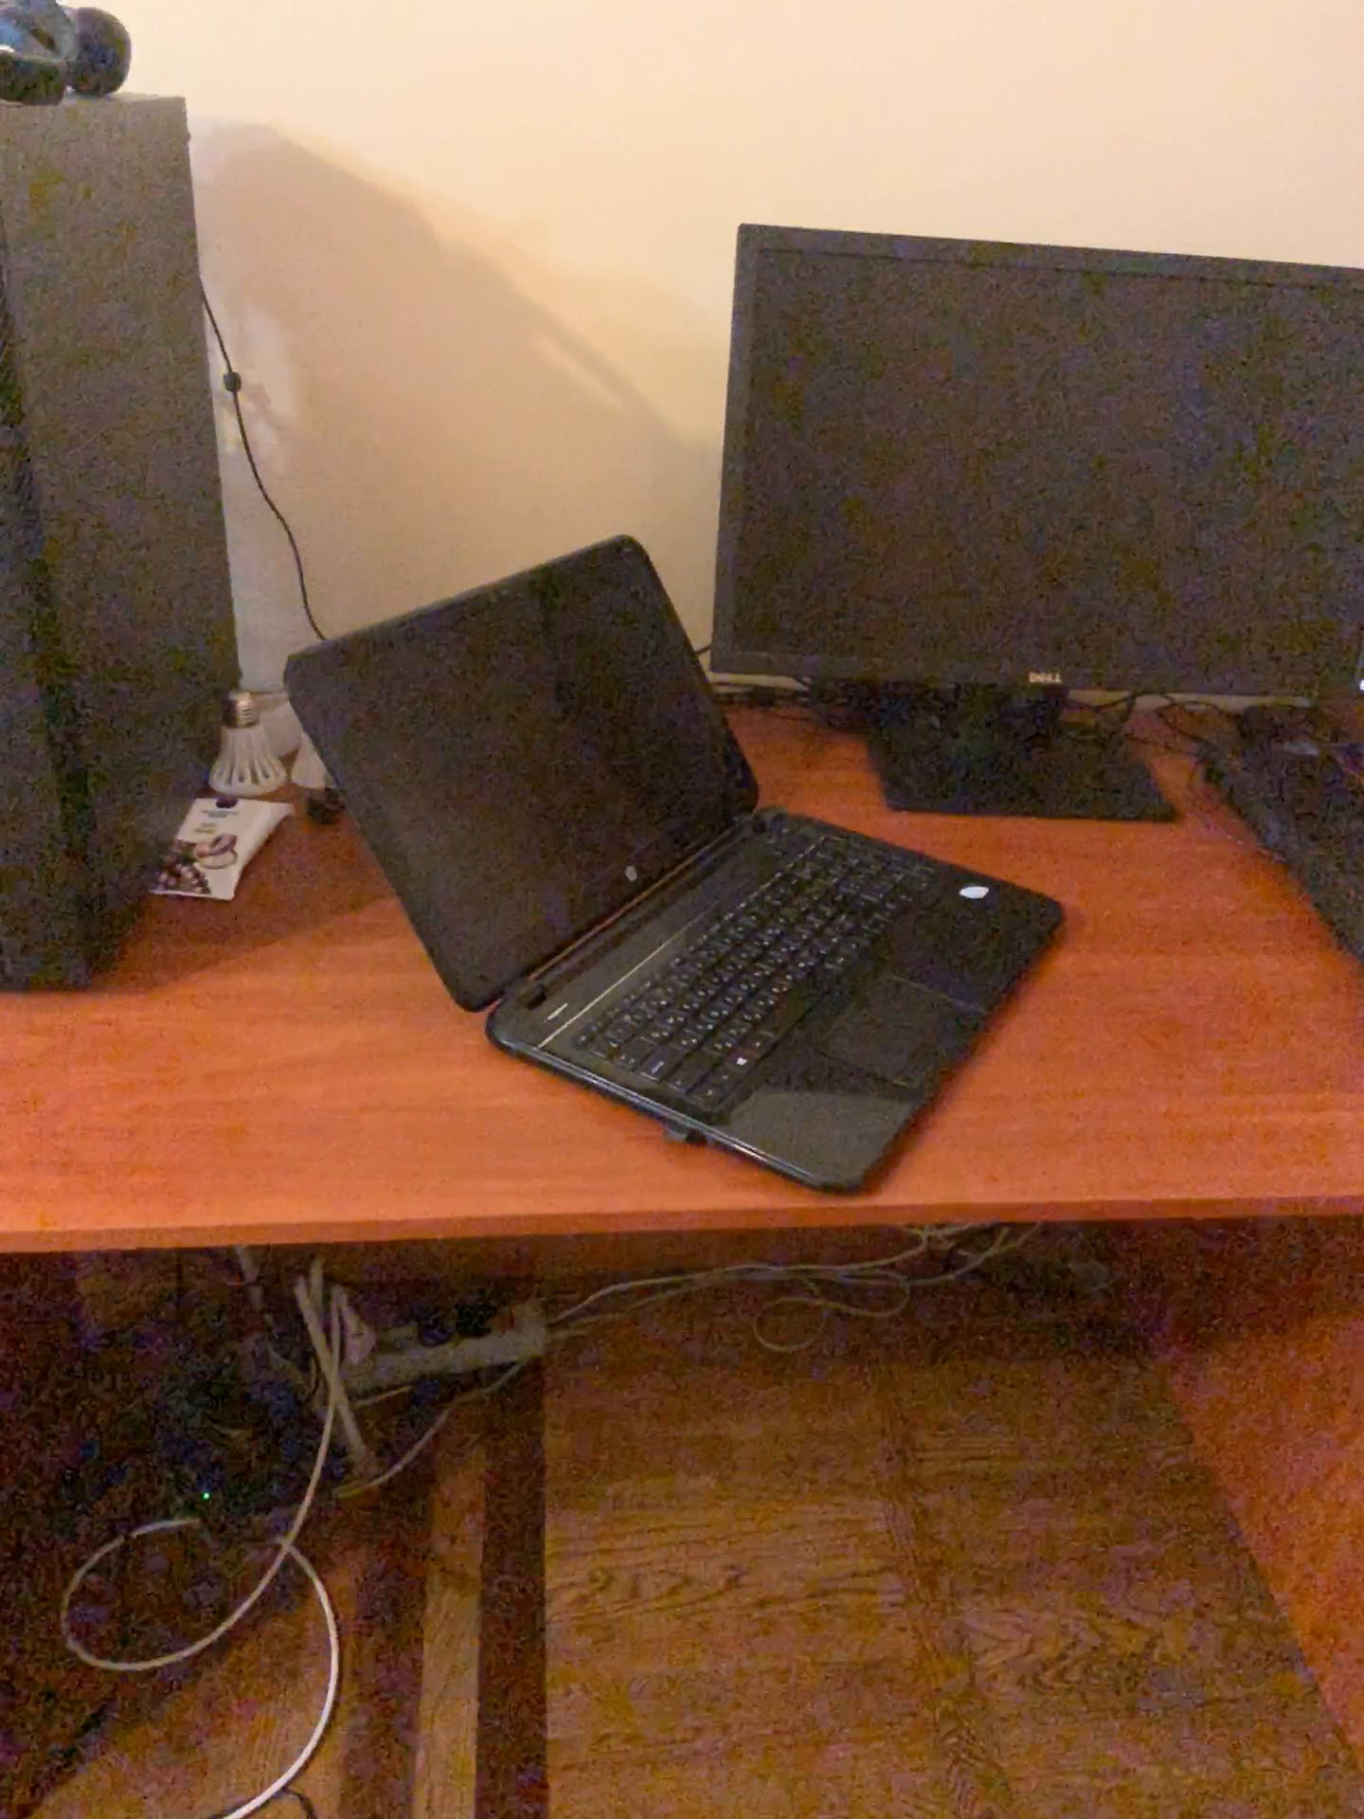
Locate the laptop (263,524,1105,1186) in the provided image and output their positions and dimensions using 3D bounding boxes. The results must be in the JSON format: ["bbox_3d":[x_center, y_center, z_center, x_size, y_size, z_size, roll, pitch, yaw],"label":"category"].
[{"bbox_3d":[0.013,-0.069,0.821,0.358,0.168,0.333,22,34,23],"label":"laptop"}]
